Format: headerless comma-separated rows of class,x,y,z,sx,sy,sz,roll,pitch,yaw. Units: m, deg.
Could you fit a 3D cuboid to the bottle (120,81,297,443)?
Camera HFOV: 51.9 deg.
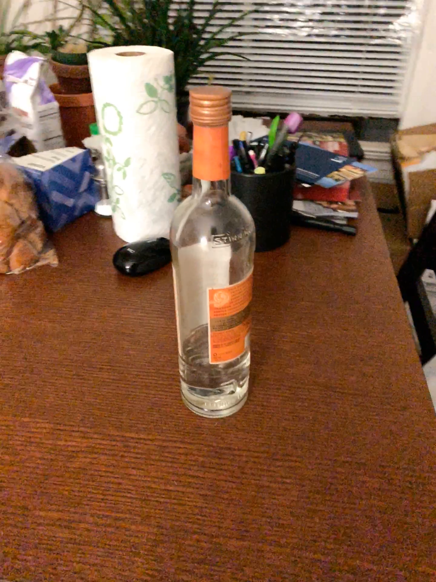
bottle,-0.007,-0.009,0.392,0.090,0.298,0.080,-25,43,-30
